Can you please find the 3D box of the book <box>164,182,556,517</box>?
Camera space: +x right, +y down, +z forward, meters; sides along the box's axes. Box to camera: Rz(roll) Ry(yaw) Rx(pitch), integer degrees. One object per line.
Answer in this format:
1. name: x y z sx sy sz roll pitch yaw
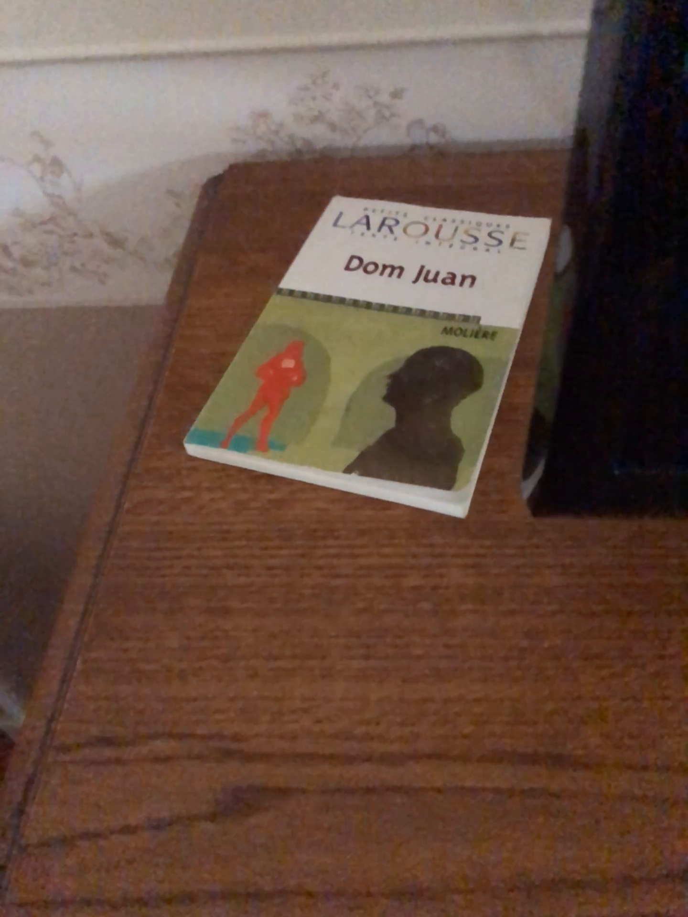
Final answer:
1. book: 0.017 -0.061 0.329 0.115 0.010 0.181 13 52 16
